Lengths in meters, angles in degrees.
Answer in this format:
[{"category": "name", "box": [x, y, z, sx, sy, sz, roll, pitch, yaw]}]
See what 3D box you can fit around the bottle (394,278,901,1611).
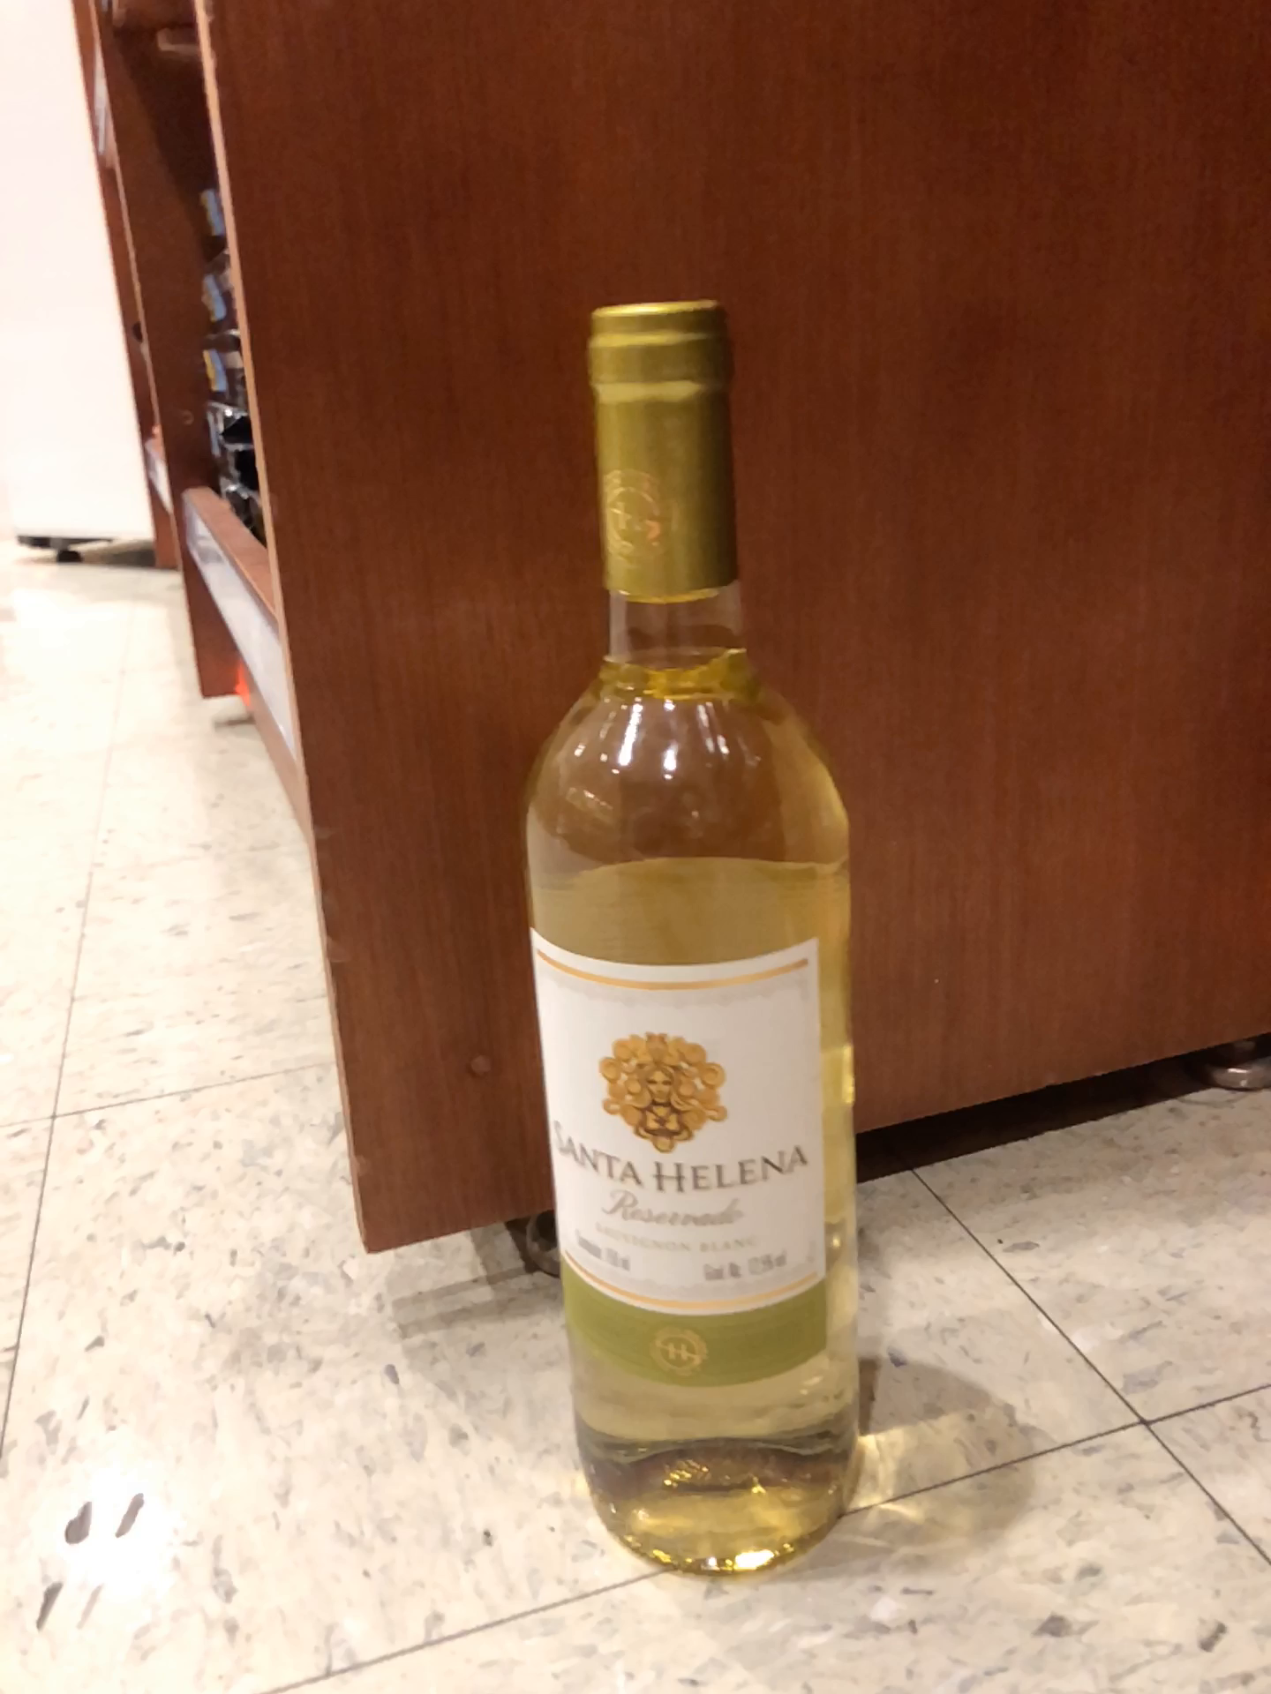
[{"category": "bottle", "box": [0.015, 0.027, 0.313, 0.080, 0.278, 0.070, 2, 20, 16]}]
